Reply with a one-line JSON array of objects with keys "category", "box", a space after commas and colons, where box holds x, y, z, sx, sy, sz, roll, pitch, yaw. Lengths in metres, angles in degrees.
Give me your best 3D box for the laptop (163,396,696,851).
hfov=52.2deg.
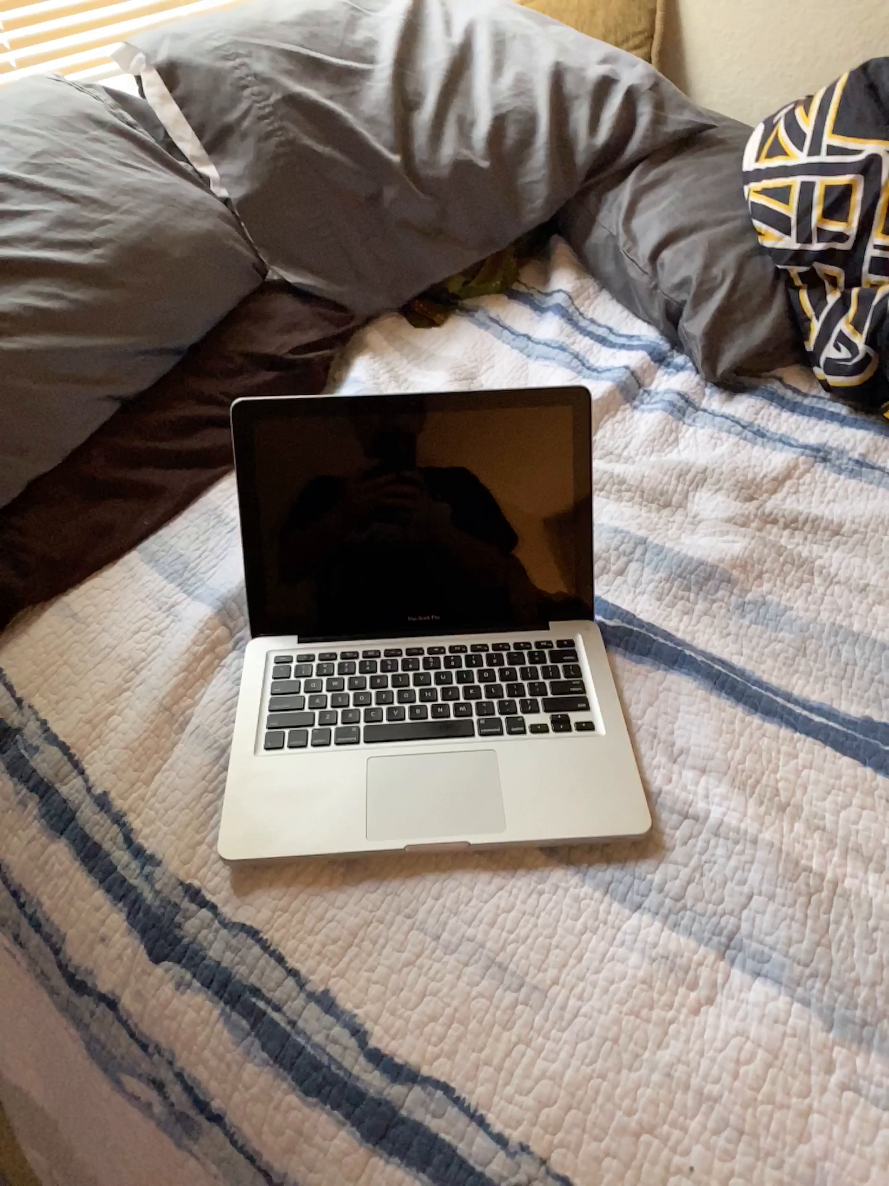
[{"category": "laptop", "box": [-0.018, 0.006, 0.732, 0.319, 0.169, 0.348, -3, 42, -1]}]
